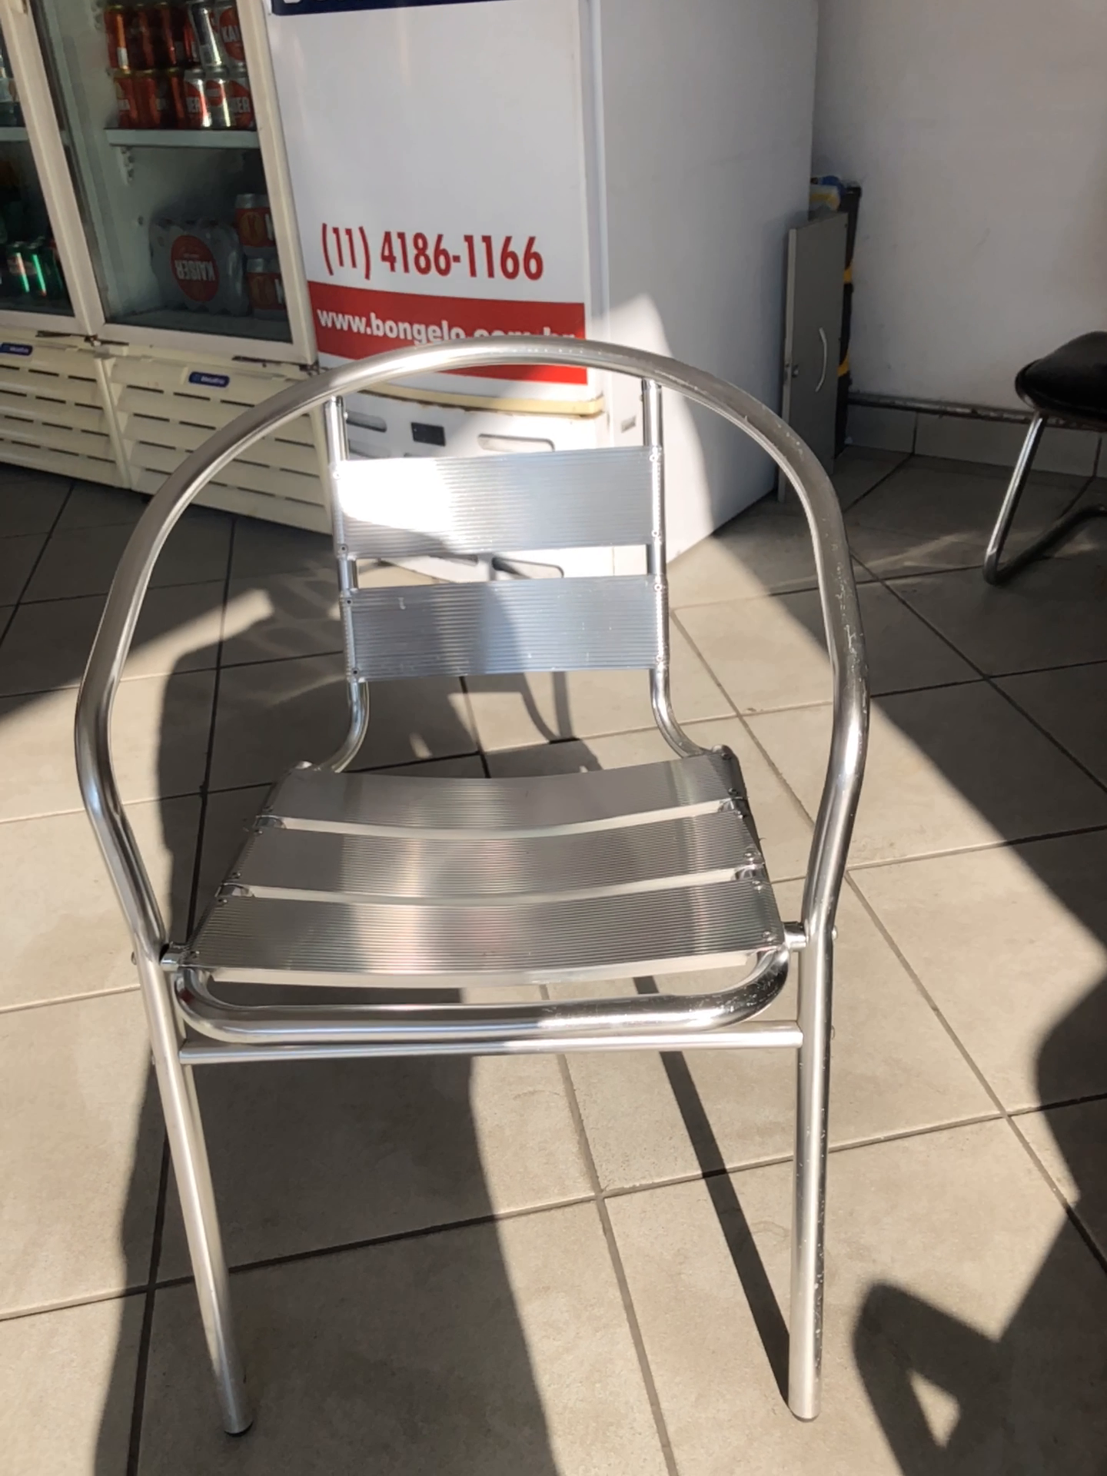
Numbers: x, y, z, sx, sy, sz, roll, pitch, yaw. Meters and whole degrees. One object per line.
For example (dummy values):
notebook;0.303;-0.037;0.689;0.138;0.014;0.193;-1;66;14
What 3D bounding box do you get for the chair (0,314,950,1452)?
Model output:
chair;-0.045;0.081;1.042;0.520;0.705;0.635;-3;30;2
